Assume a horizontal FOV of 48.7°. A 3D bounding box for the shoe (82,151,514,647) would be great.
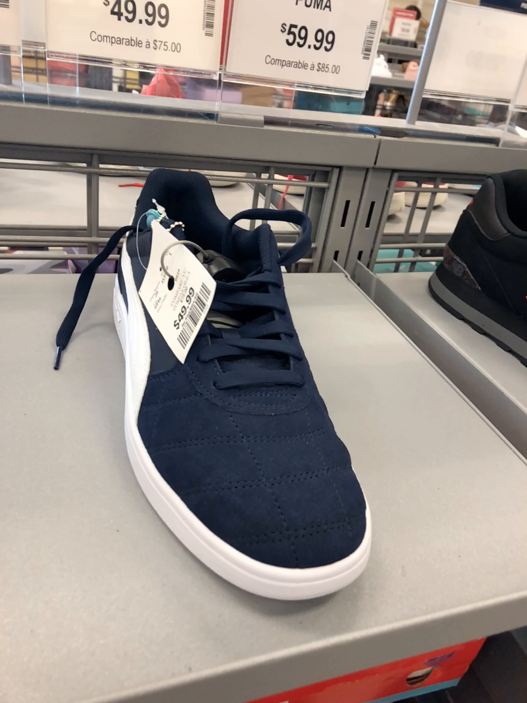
[{"bbox_3d":[-0.019,-0.009,0.301,0.119,0.119,0.242,-4,32,-22],"label":"shoe"}]
